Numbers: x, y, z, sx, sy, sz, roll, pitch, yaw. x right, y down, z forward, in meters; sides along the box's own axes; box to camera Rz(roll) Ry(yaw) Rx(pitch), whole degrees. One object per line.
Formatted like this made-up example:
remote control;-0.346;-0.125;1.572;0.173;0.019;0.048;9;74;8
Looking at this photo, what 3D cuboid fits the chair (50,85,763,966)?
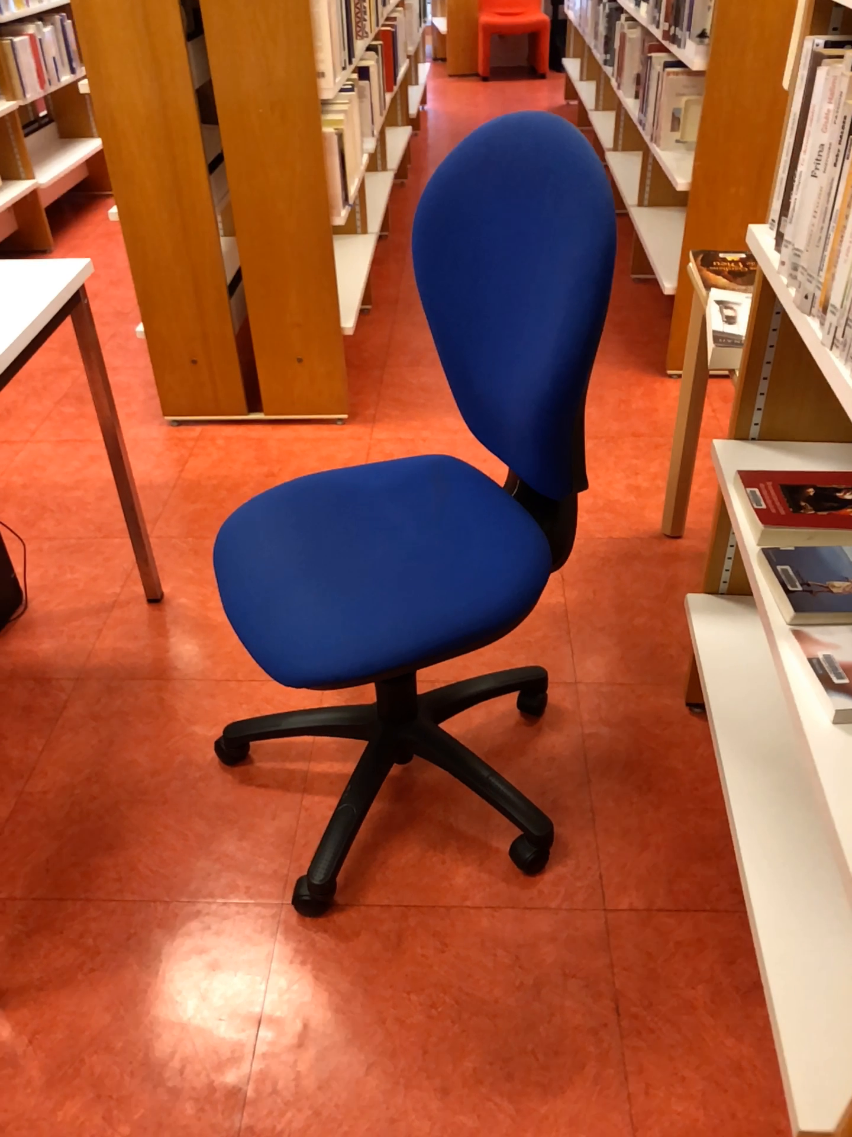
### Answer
chair;-0.075;-0.092;1.306;0.621;0.914;0.663;-13;37;-15
